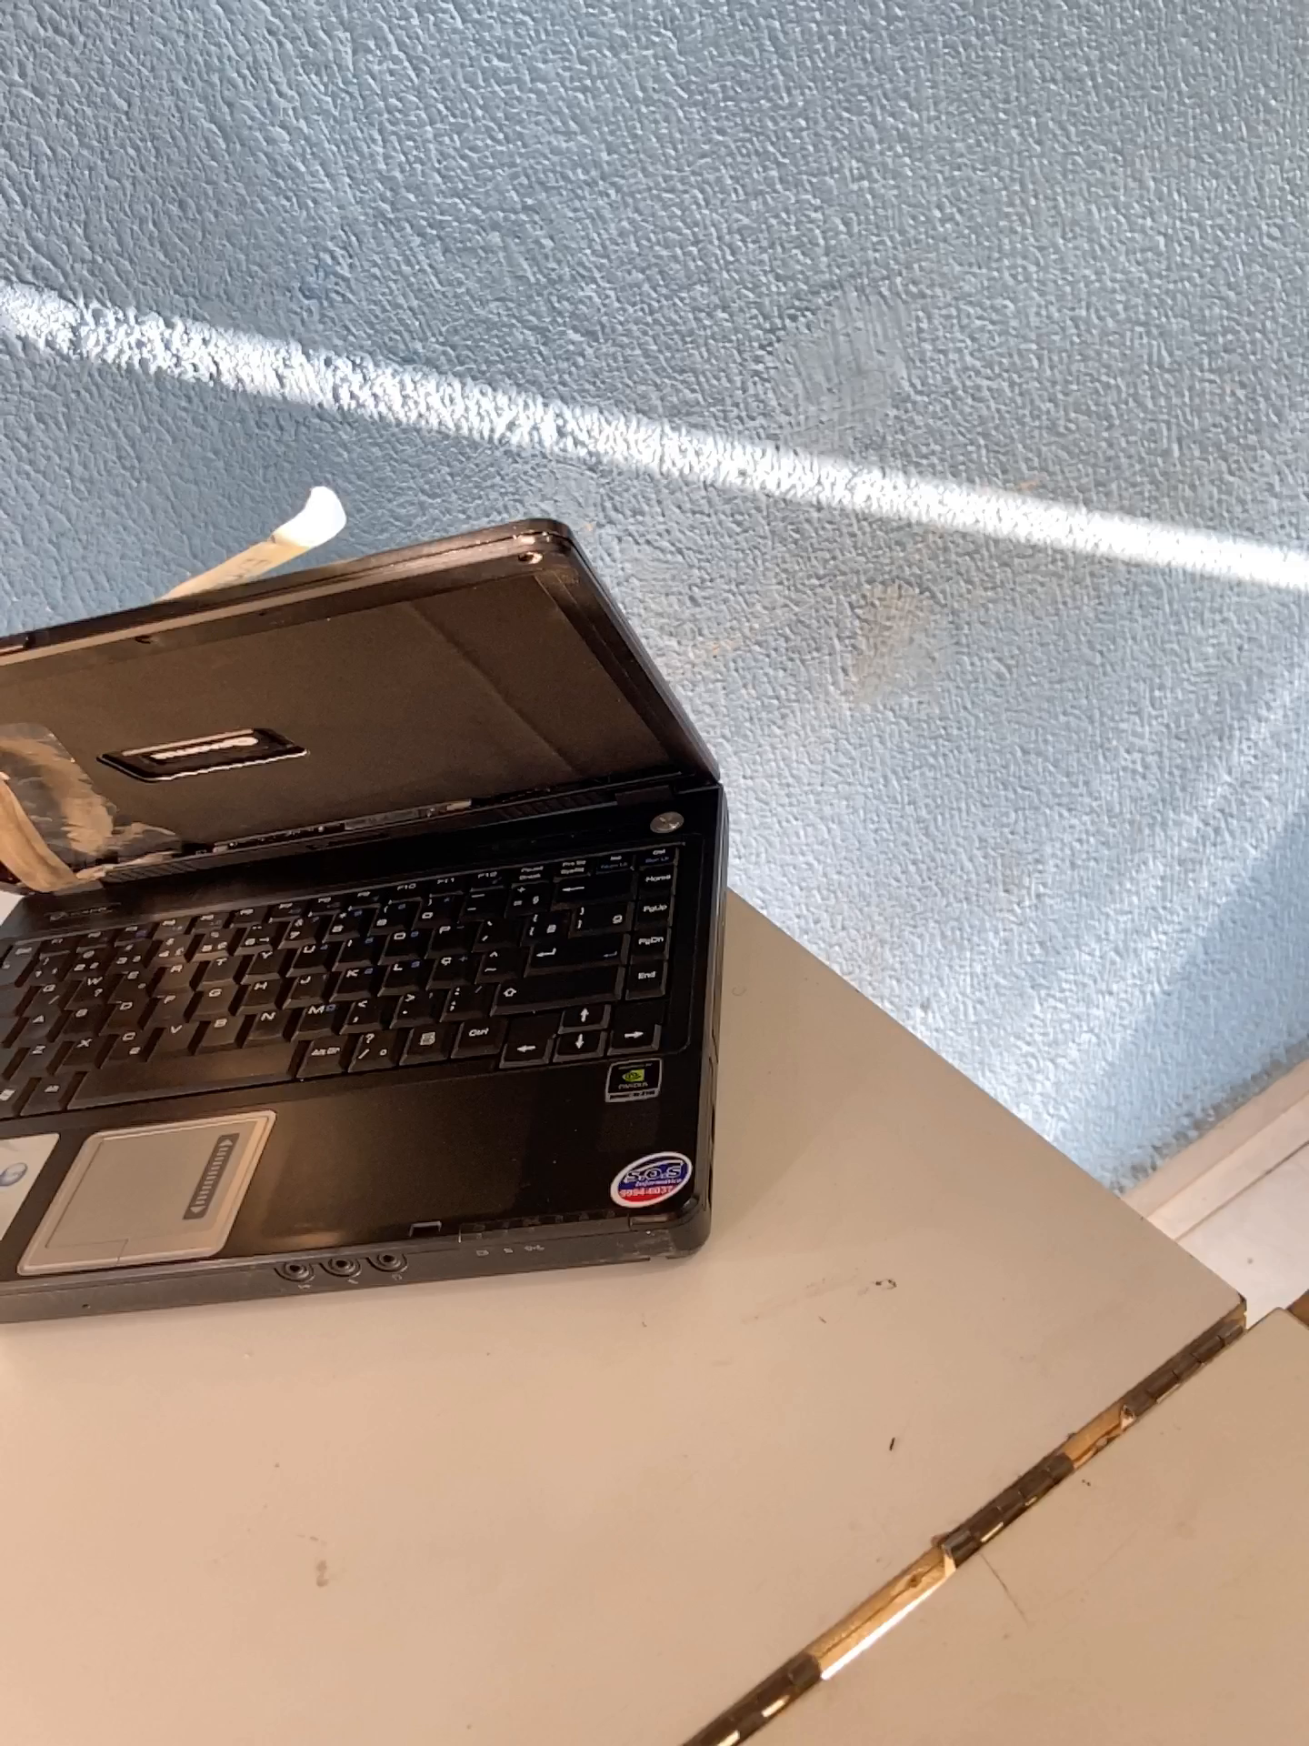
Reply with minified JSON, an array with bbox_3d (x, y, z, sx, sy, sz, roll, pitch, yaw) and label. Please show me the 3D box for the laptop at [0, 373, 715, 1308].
[{"bbox_3d":[-0.163,-0.015,0.460,0.328,0.175,0.225,-9,35,11],"label":"laptop"}]
